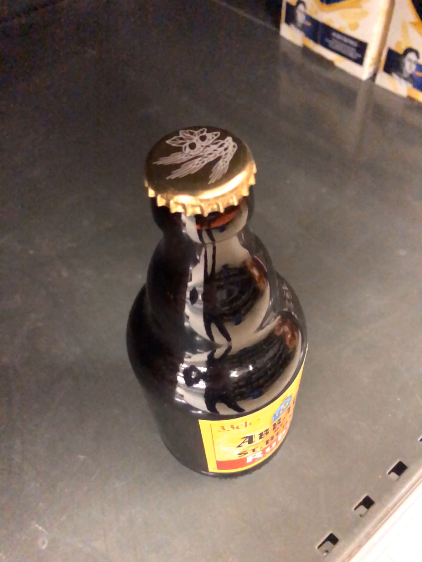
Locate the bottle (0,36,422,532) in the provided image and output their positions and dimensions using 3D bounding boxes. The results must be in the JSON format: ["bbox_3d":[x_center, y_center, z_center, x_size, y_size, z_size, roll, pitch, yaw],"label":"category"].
[{"bbox_3d":[0.006,0.020,0.177,0.080,0.169,0.070,-35,58,-20],"label":"bottle"}]
